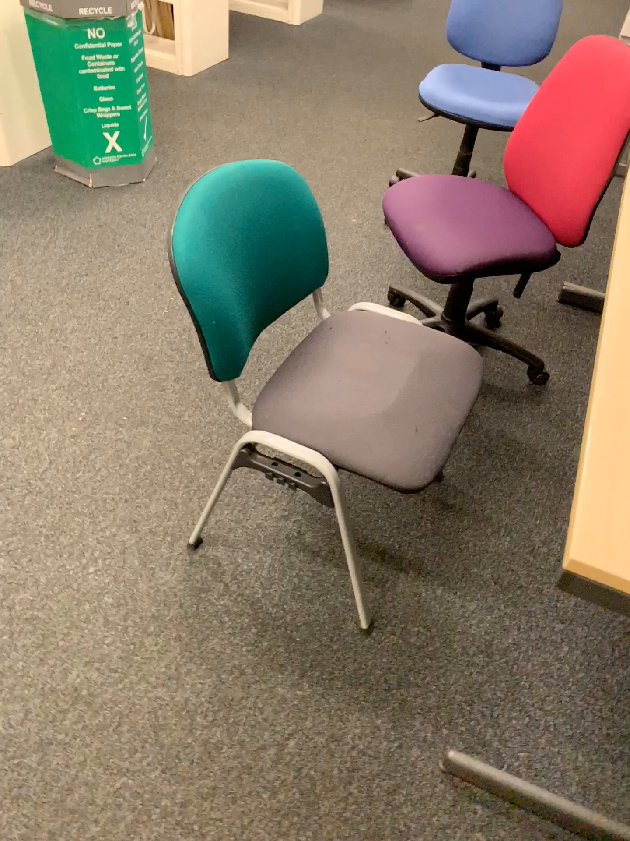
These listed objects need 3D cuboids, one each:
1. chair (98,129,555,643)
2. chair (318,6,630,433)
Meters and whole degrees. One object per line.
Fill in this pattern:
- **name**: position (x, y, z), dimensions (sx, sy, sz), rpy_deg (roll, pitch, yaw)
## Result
- **chair**: position (0.022, -0.077, 1.328), dimensions (0.599, 0.721, 0.556), rpy_deg (23, 46, 14)
- **chair**: position (0.475, -0.550, 1.771), dimensions (0.669, 0.860, 0.657), rpy_deg (-10, 47, -18)
